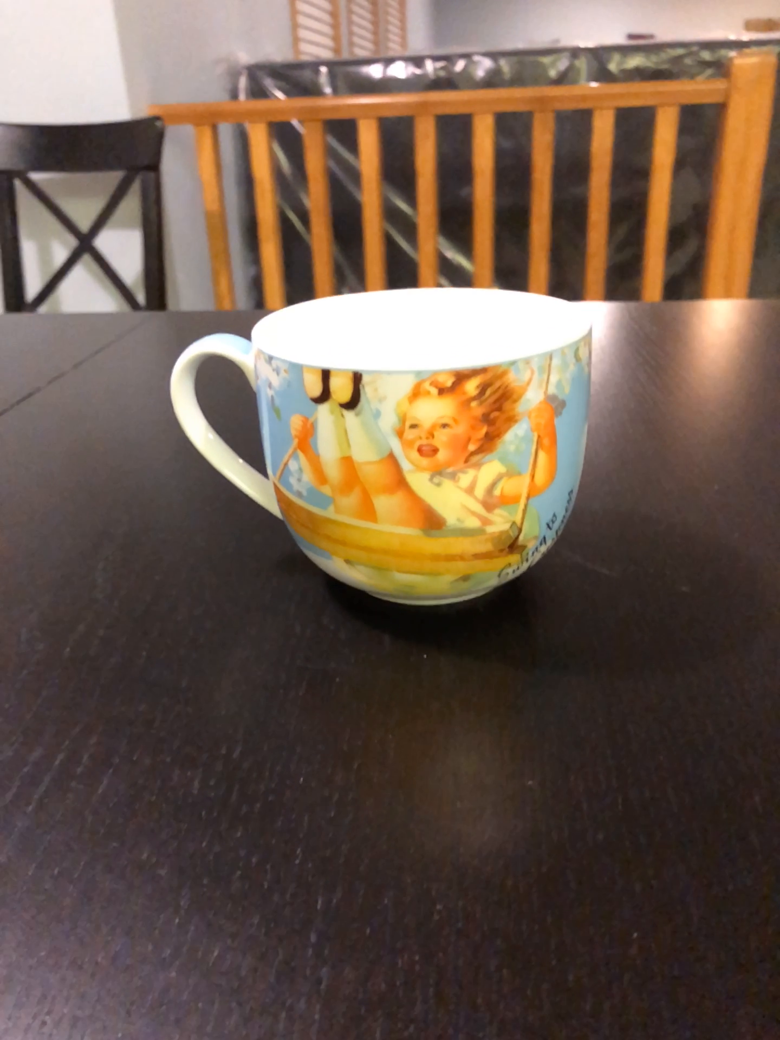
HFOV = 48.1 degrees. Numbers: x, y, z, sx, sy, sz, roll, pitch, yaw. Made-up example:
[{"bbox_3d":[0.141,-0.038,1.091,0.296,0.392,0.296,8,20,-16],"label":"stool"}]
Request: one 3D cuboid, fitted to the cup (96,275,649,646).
[{"bbox_3d":[0.001,-0.029,0.307,0.150,0.090,0.121,1,24,7],"label":"cup"}]
